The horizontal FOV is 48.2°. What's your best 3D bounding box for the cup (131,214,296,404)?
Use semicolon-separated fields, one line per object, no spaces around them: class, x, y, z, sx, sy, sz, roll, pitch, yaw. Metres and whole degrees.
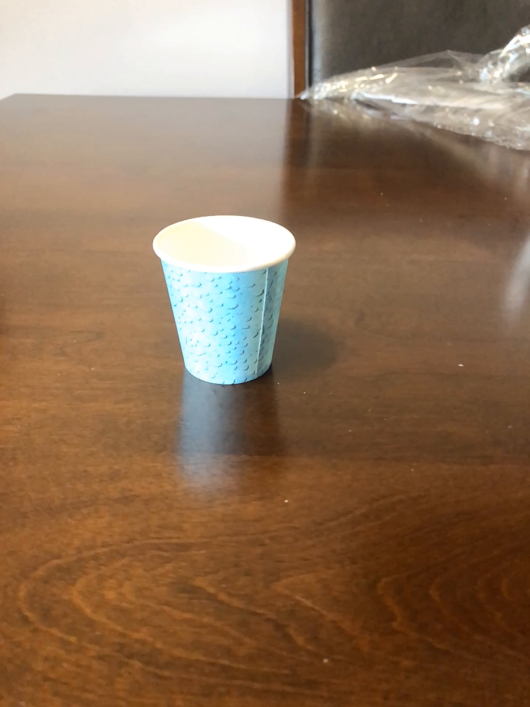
cup;-0.018;-0.021;0.256;0.060;0.060;0.060;0;32;0
